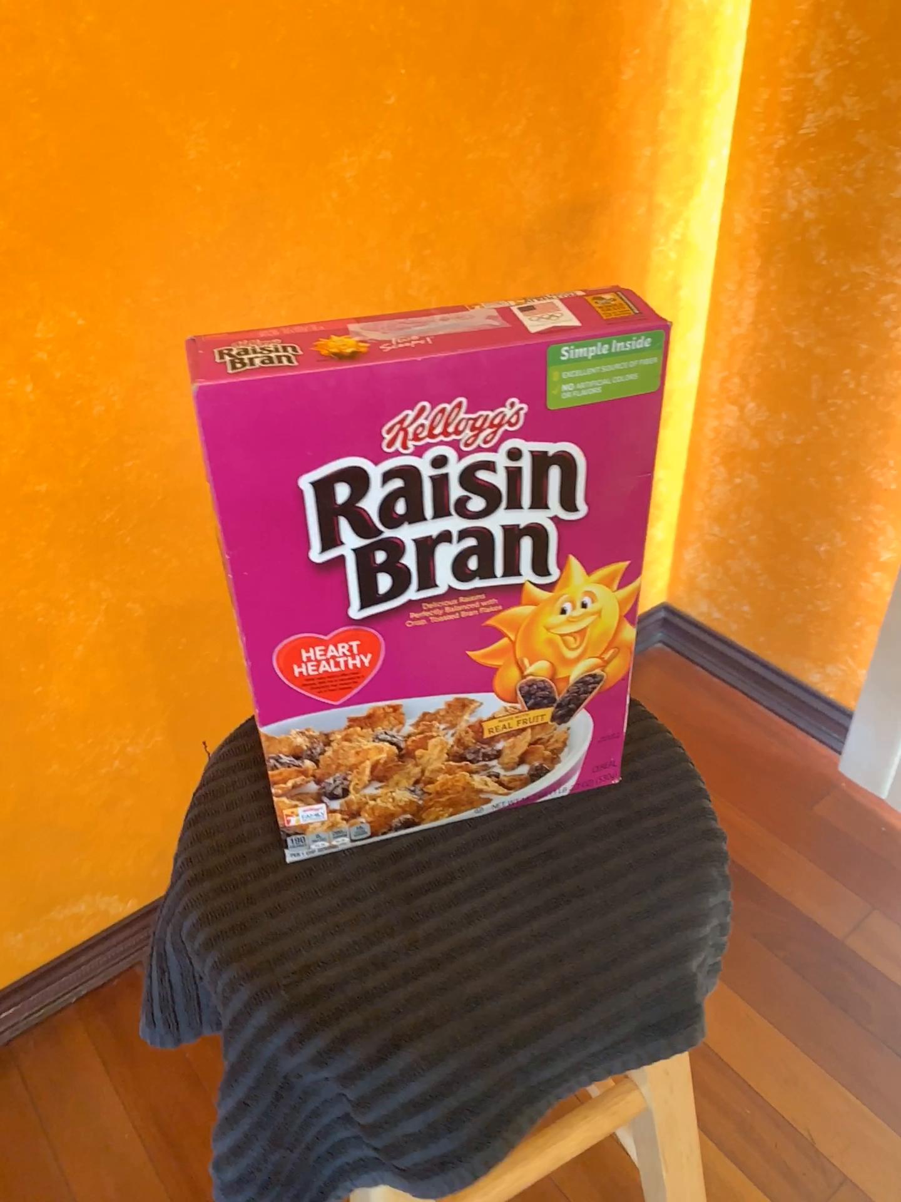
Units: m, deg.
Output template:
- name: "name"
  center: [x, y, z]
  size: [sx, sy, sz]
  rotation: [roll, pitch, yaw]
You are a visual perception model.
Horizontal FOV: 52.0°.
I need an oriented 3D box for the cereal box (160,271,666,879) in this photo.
- name: "cereal box"
  center: [-0.013, 0.000, 0.466]
  size: [0.200, 0.288, 0.060]
  rotation: [-11, 37, -13]
